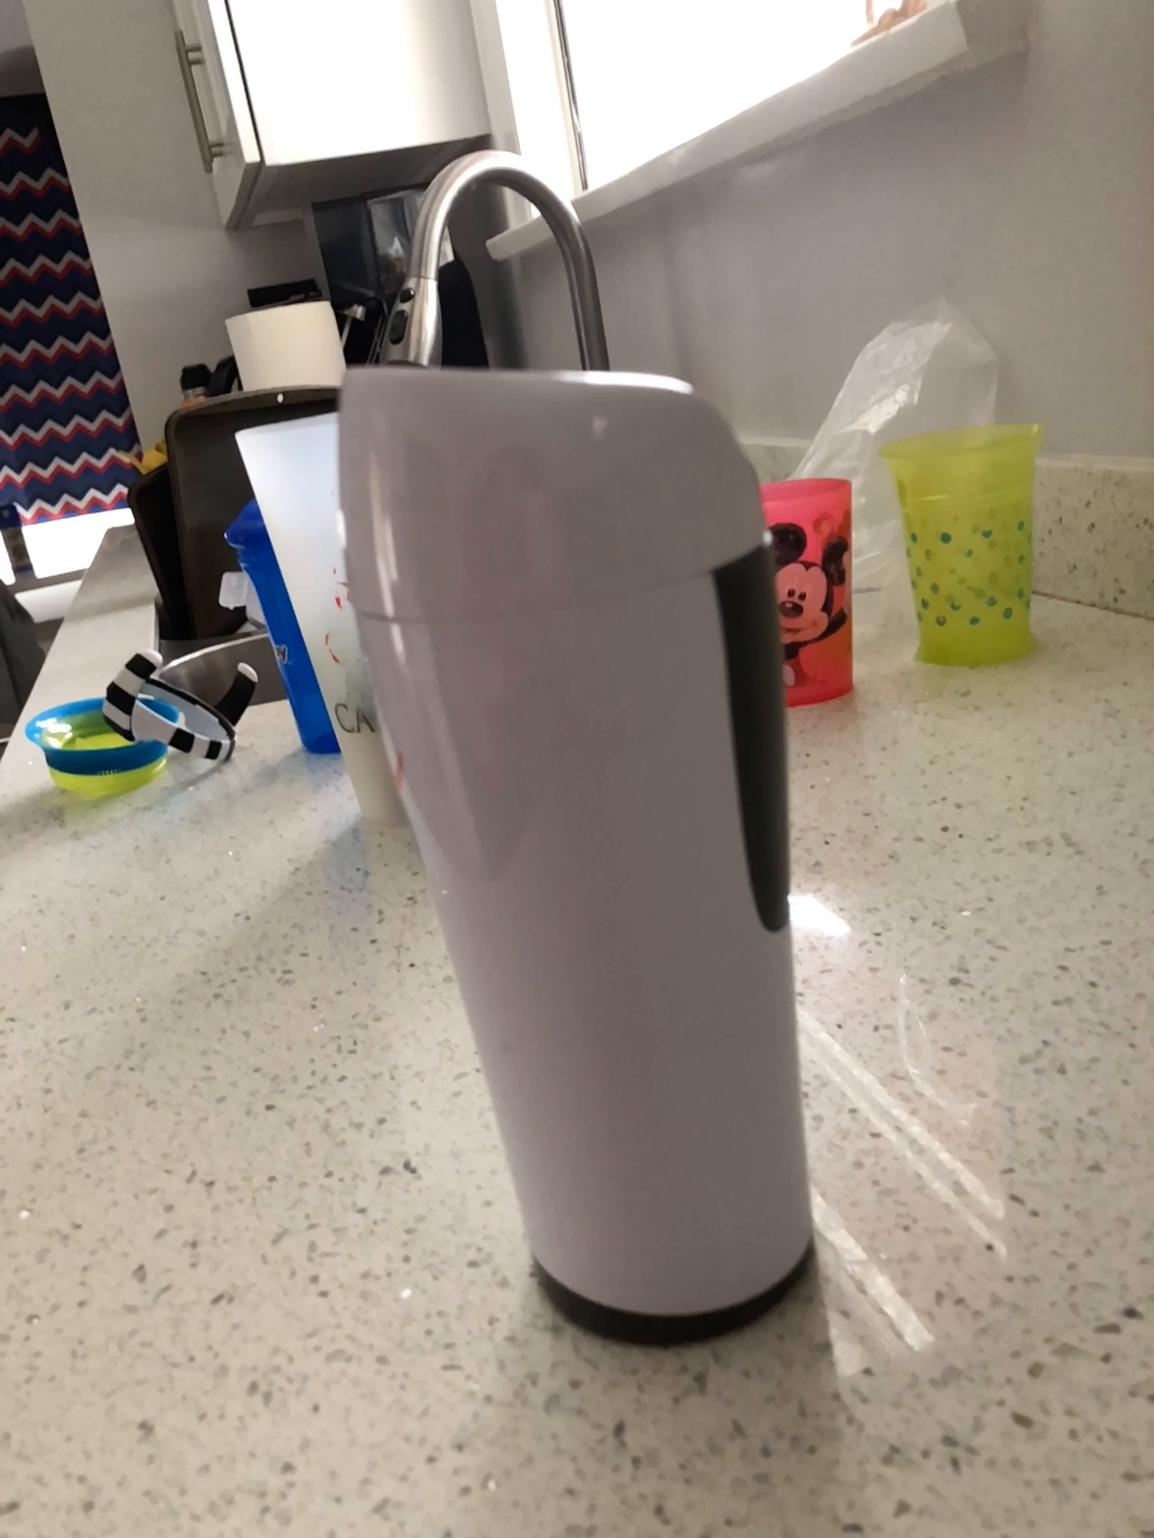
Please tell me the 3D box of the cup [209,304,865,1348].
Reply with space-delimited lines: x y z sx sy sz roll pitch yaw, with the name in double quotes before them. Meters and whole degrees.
"cup" 0.004 0.011 0.249 0.081 0.182 0.078 -9 18 3
